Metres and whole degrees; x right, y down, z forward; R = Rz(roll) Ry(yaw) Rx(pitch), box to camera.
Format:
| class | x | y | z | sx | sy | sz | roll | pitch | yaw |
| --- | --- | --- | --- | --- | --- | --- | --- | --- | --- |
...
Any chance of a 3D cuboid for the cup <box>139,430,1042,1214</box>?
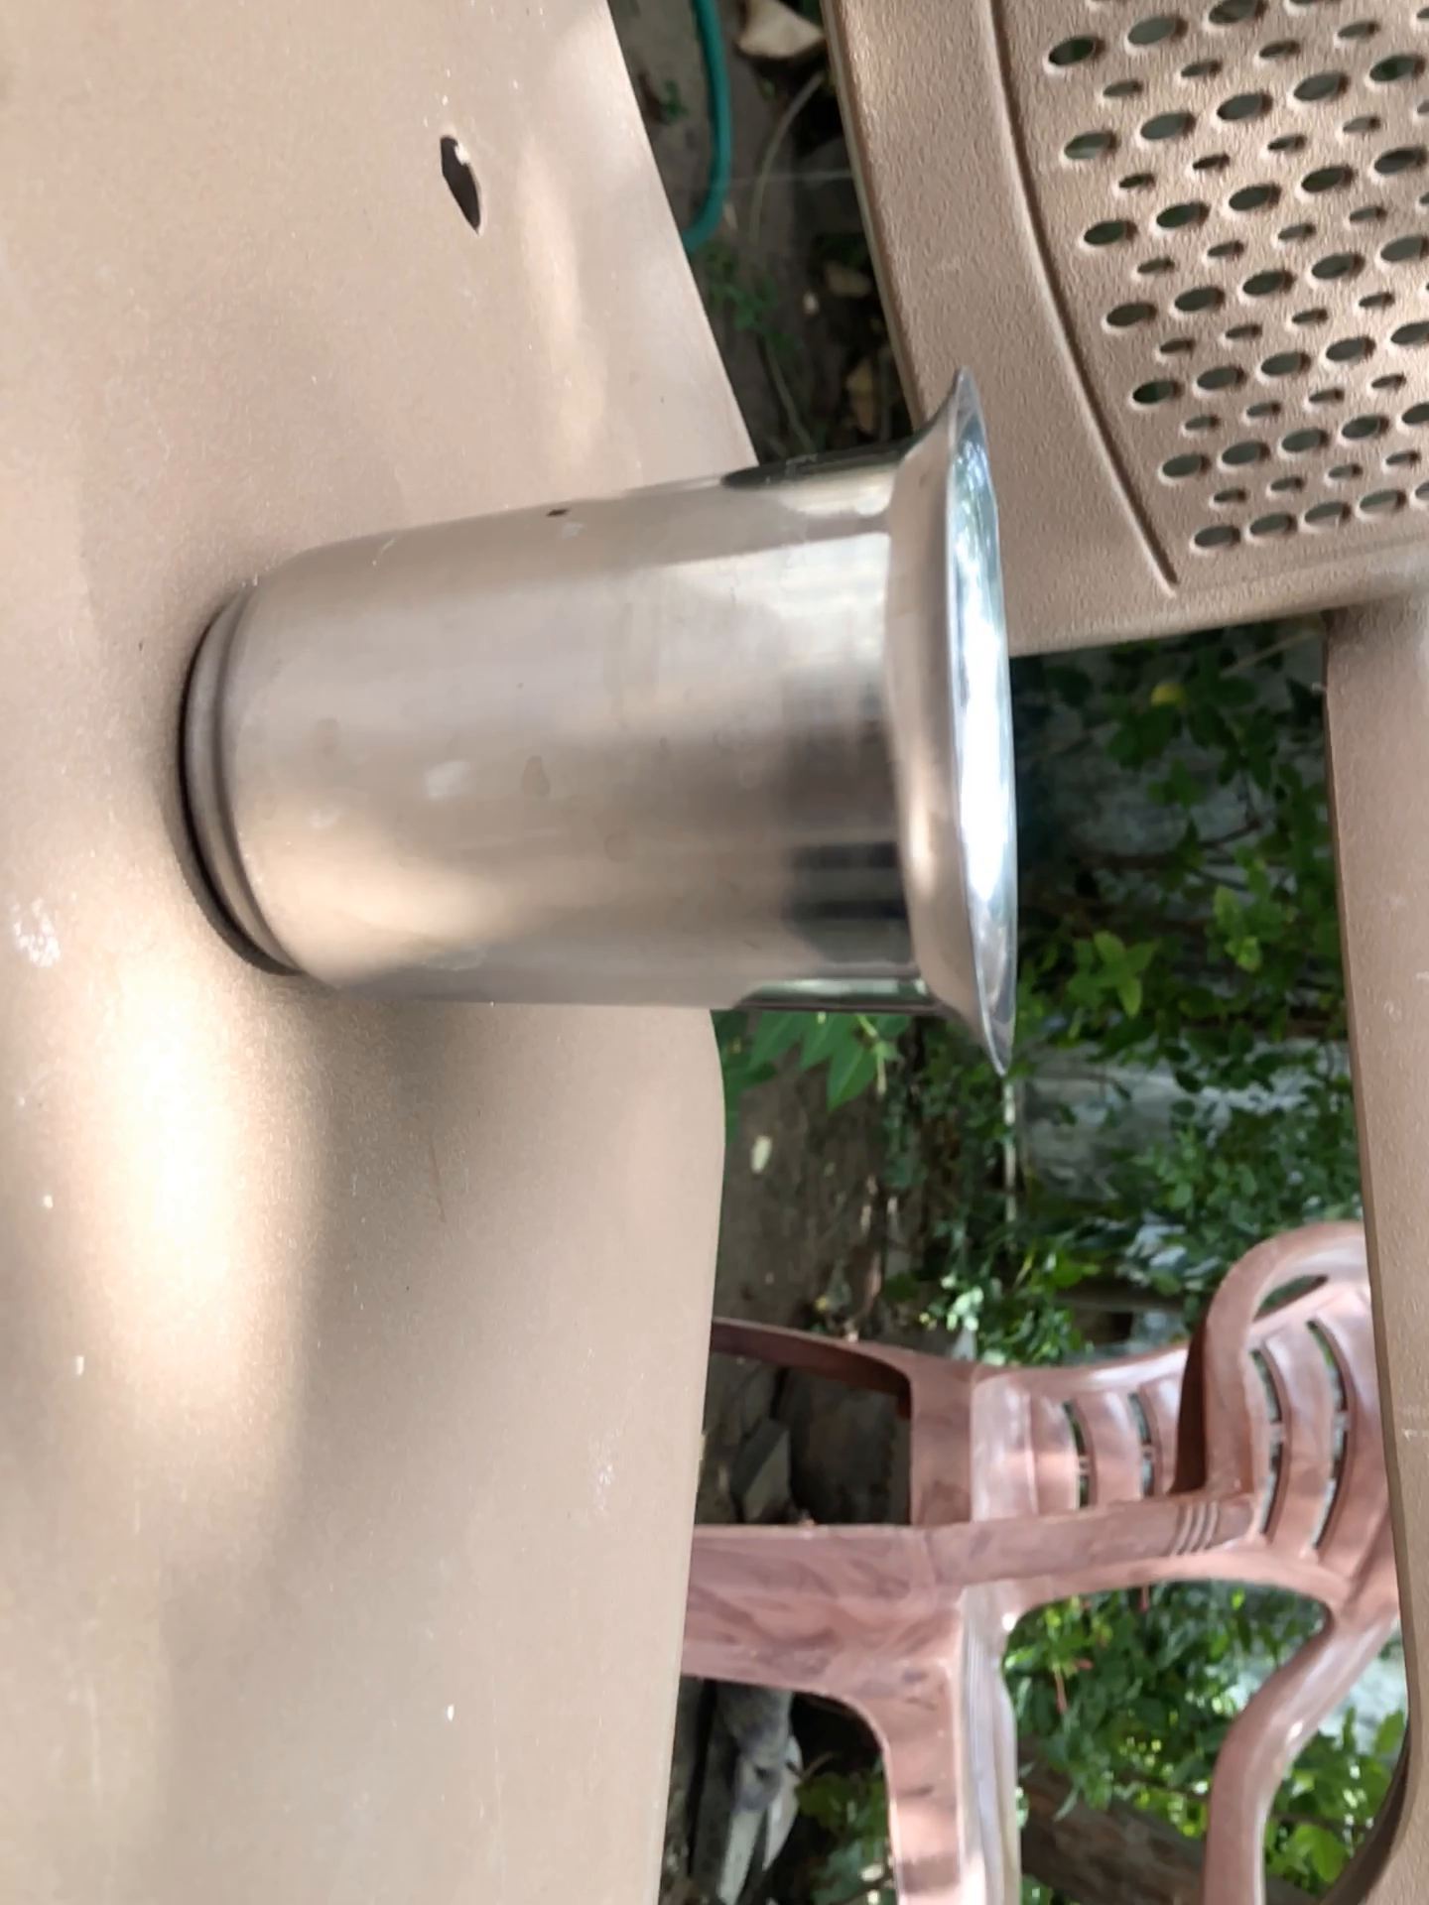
| class | x | y | z | sx | sy | sz | roll | pitch | yaw |
| --- | --- | --- | --- | --- | --- | --- | --- | --- | --- |
| cup | -0.005 | -0.023 | 0.213 | 0.090 | 0.090 | 0.080 | -45 | 134 | -68 |
